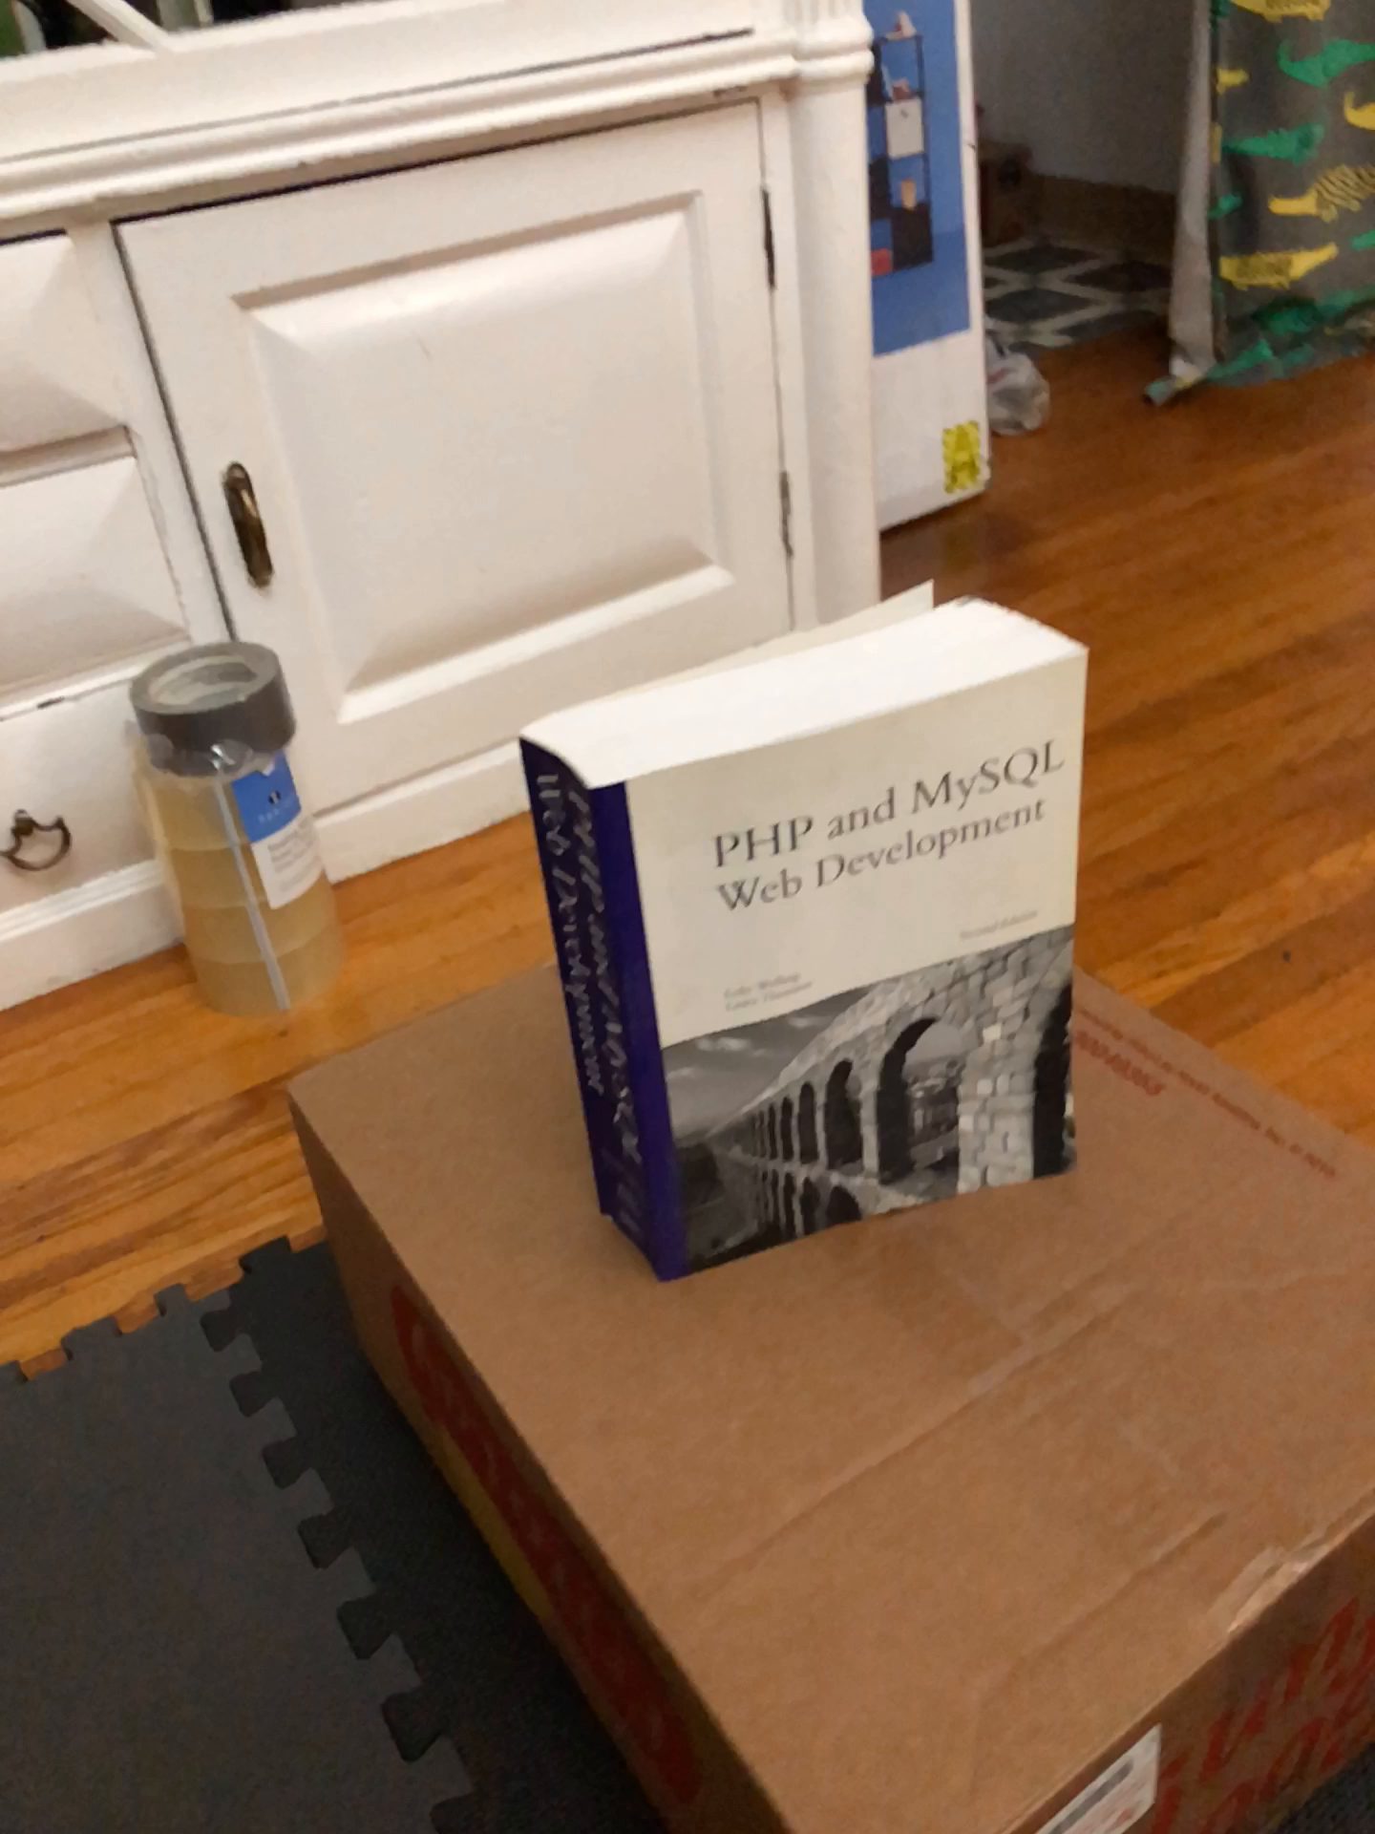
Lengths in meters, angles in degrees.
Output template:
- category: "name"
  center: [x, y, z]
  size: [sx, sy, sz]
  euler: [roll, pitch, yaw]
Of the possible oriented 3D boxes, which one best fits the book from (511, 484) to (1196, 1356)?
- category: "book"
  center: [0.064, 0.003, 0.558]
  size: [0.200, 0.258, 0.090]
  euler: [-21, 39, -20]
